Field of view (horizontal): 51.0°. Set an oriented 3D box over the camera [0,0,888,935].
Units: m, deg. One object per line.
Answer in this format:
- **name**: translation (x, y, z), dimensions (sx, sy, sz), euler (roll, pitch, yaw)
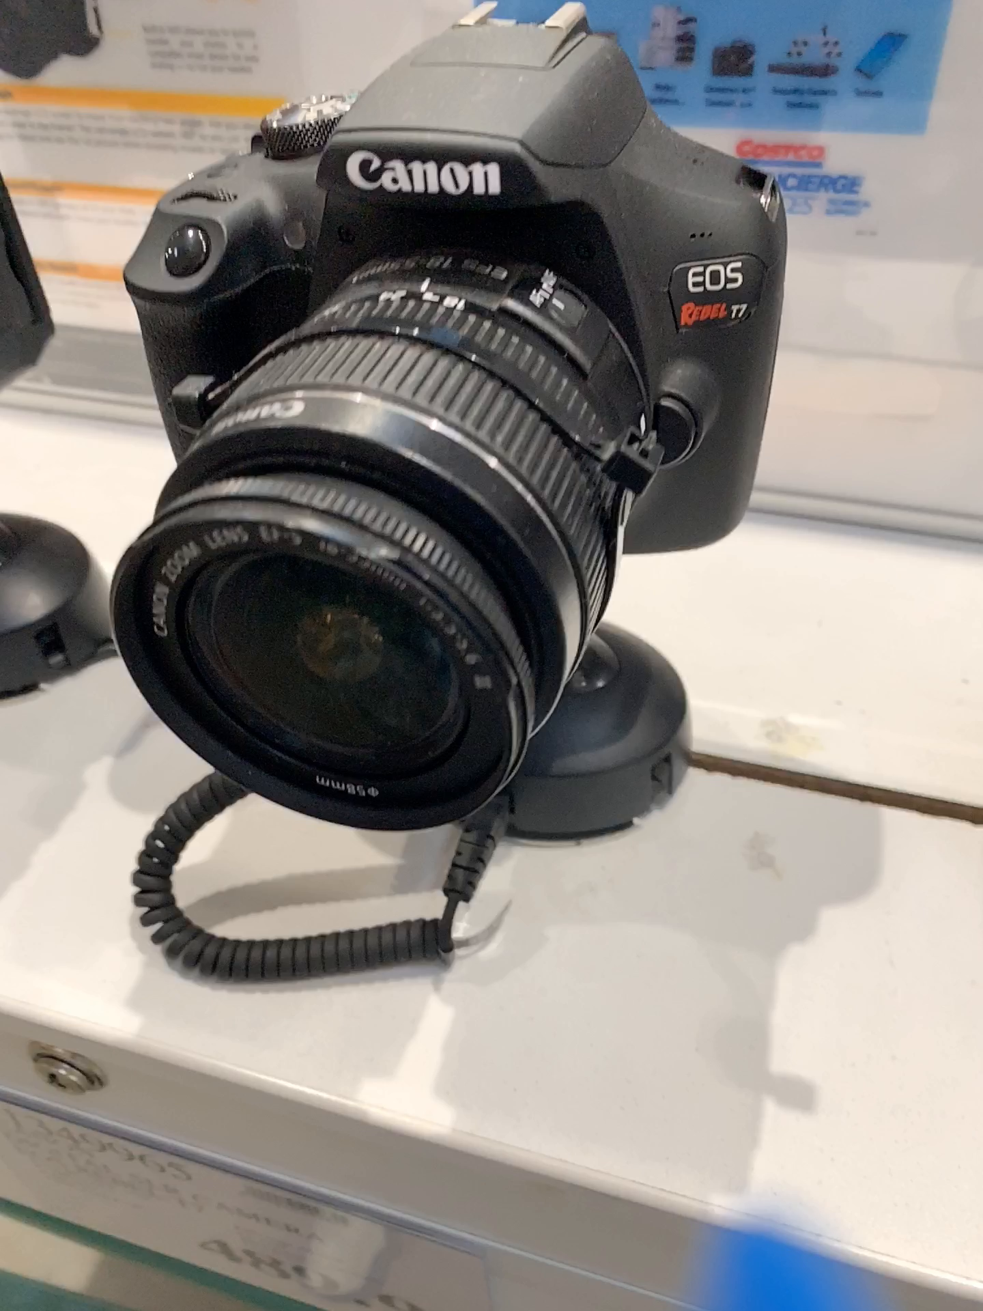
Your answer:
- **camera**: translation (-0.009, -0.051, 0.180), dimensions (0.130, 0.089, 0.141), euler (10, 43, 13)
